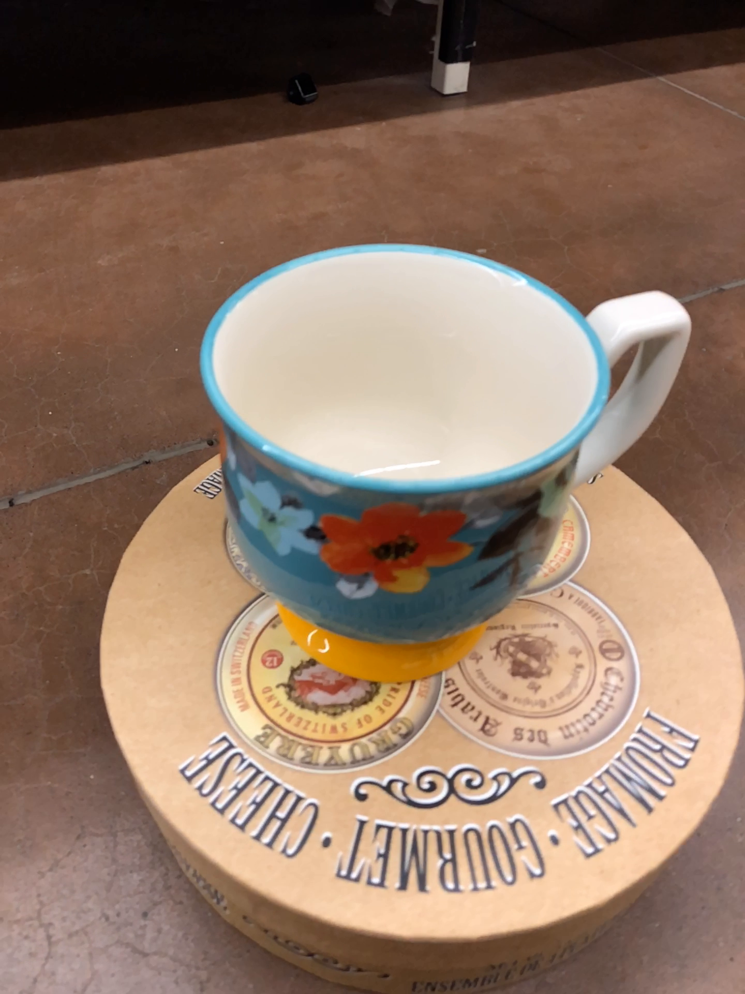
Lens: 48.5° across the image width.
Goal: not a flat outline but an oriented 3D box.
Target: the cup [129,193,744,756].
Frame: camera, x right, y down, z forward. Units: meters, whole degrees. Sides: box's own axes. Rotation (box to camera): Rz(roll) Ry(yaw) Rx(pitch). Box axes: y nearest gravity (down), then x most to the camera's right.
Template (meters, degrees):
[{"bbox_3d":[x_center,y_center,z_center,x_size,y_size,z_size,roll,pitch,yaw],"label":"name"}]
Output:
[{"bbox_3d":[0.022,-0.014,0.223,0.140,0.080,0.090,-17,47,-19],"label":"cup"}]
